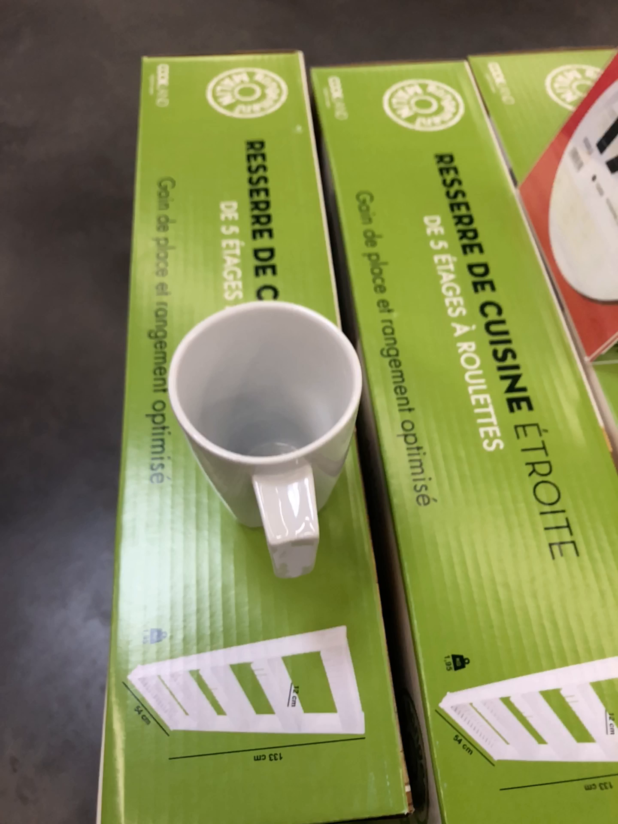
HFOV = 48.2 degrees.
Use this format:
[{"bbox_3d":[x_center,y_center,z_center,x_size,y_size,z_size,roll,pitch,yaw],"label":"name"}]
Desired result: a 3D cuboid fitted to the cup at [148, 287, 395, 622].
[{"bbox_3d":[-0.020,0.020,0.307,0.083,0.087,0.112,-7,59,-6],"label":"cup"}]
